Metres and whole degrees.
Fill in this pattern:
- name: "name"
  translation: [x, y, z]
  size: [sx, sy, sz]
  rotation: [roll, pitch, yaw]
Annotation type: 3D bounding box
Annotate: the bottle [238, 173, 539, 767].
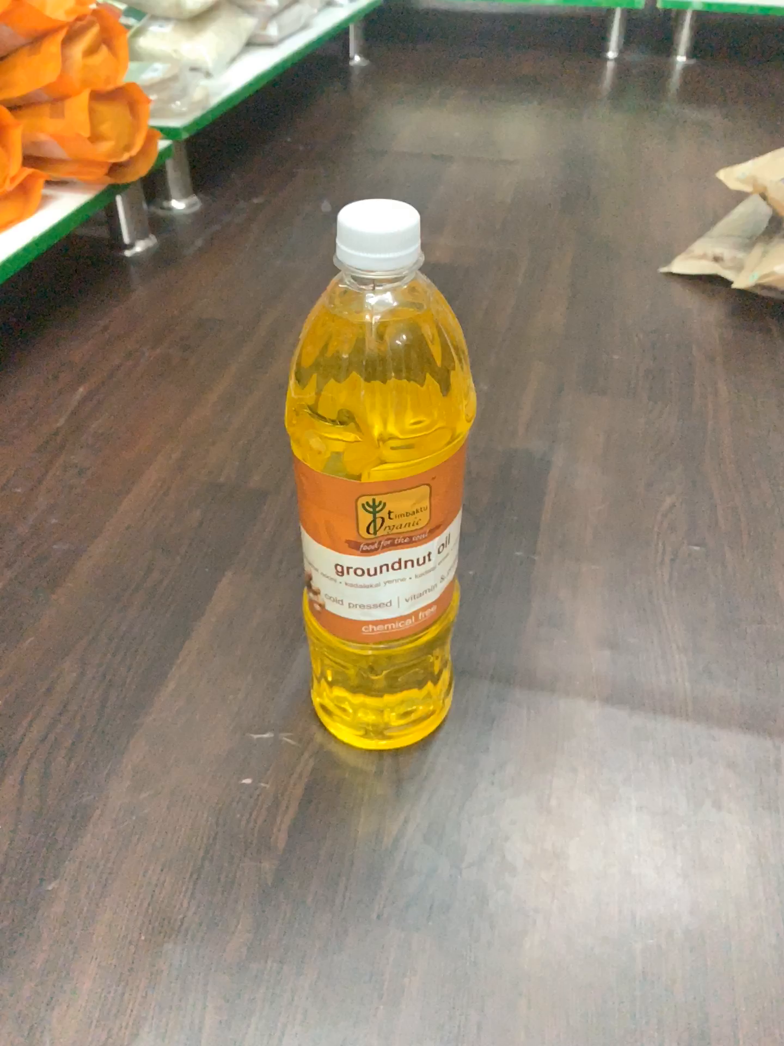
- name: "bottle"
  translation: [-0.005, -0.004, 0.352]
  size: [0.090, 0.259, 0.070]
  rotation: [-6, 41, -7]
